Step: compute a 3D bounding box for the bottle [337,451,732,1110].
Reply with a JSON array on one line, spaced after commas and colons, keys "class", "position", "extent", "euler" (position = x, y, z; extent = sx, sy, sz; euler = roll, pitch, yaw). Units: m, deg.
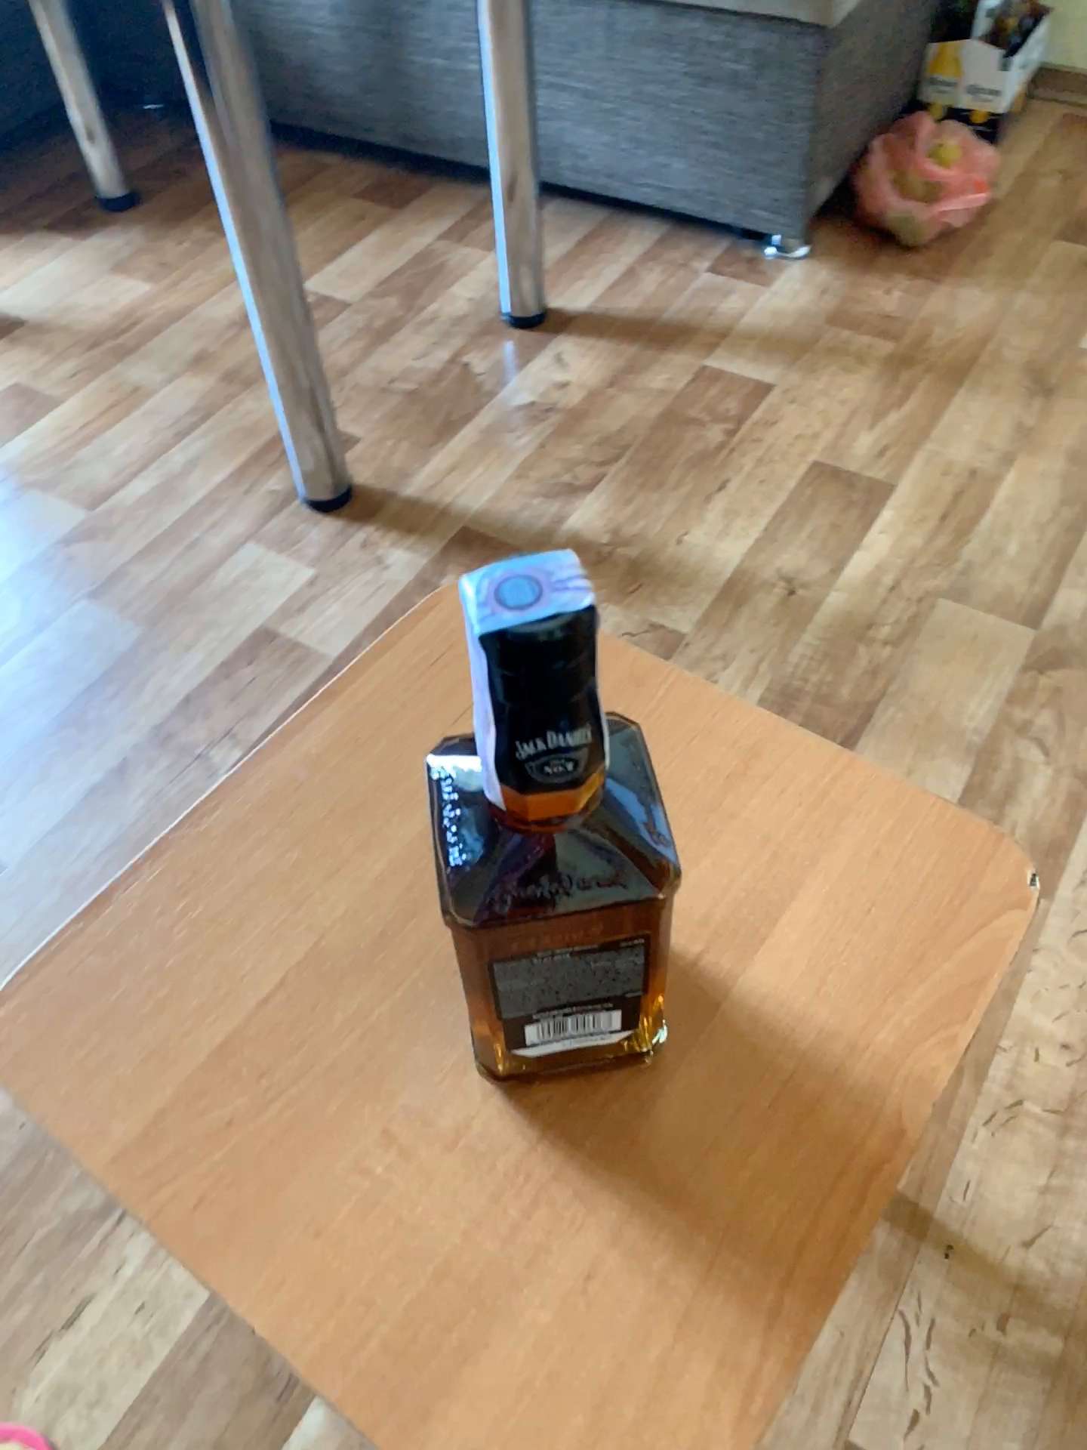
[{"class": "bottle", "position": [0.000, 0.033, 0.337], "extent": [0.080, 0.209, 0.080], "euler": [-2, 51, 3]}]
